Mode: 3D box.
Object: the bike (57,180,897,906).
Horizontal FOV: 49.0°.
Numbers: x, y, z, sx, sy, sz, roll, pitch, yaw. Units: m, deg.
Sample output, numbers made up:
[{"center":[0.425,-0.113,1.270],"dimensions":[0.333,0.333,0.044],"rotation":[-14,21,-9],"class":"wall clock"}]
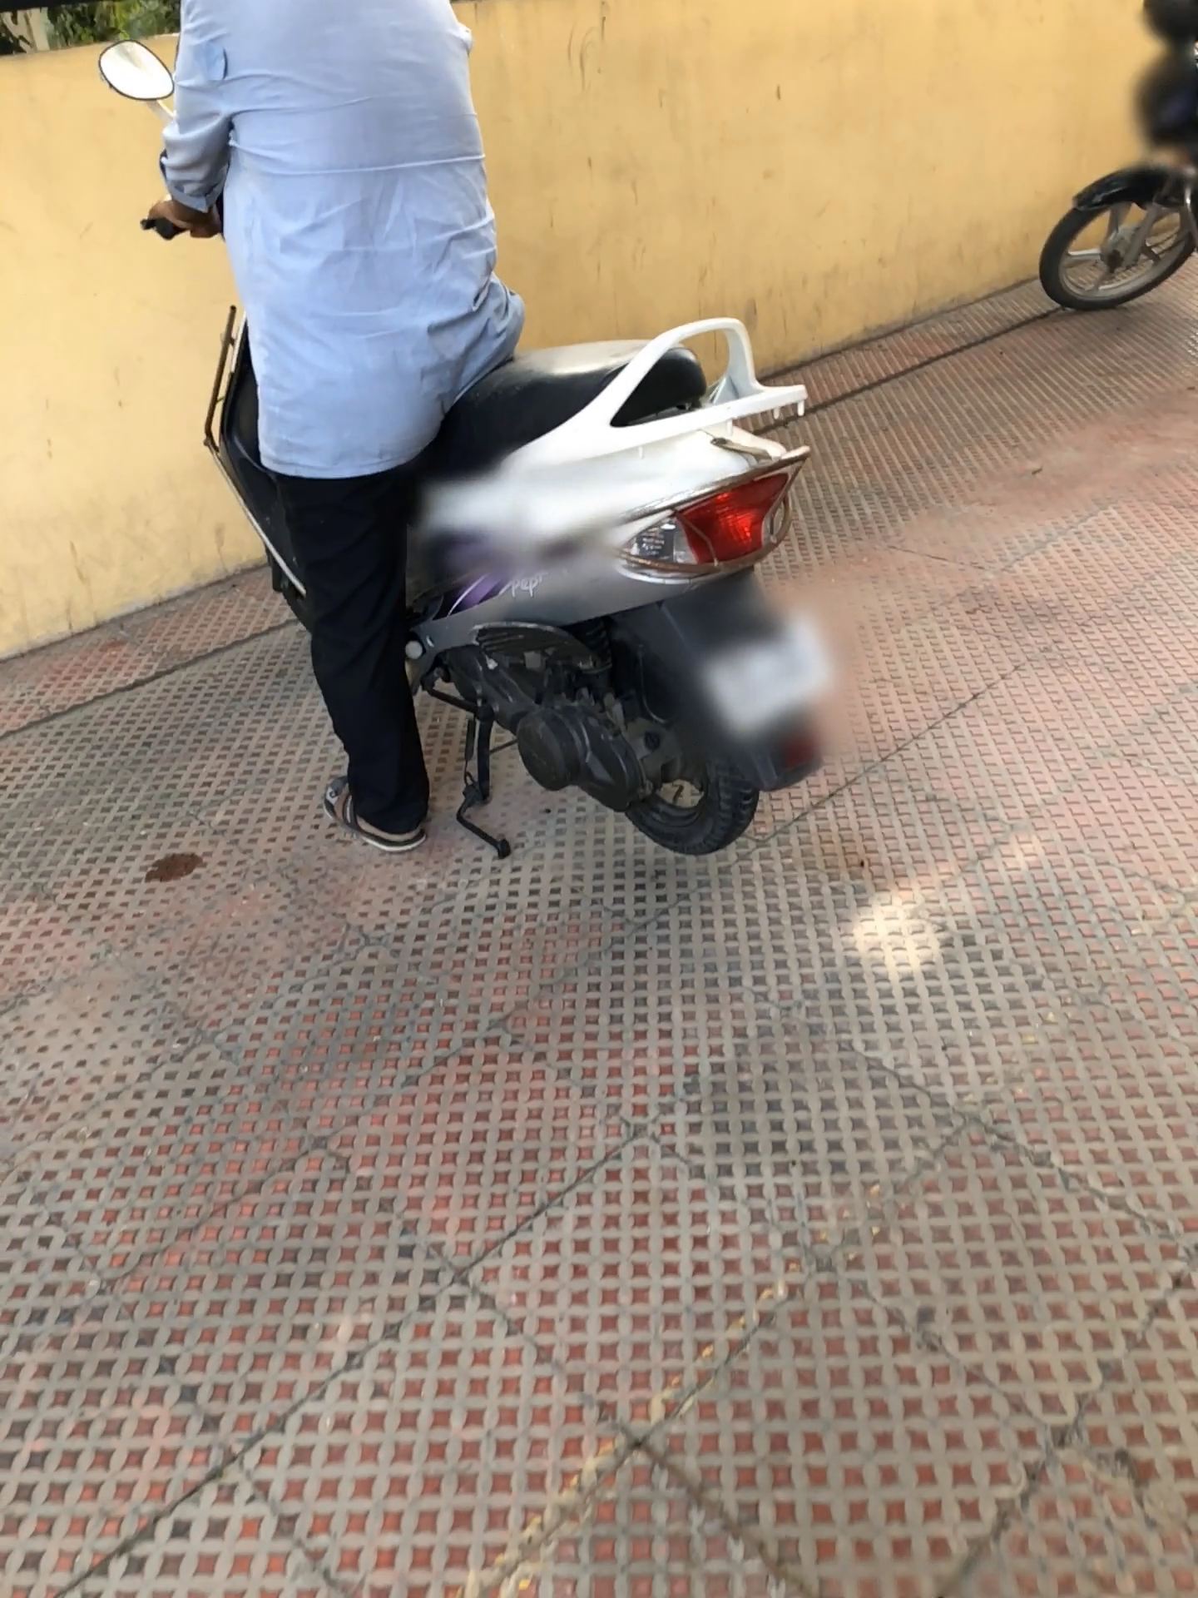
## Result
[{"center":[-0.302,-0.597,2.355],"dimensions":[0.601,0.816,1.613],"rotation":[-26,36,-28],"class":"bike"}]
